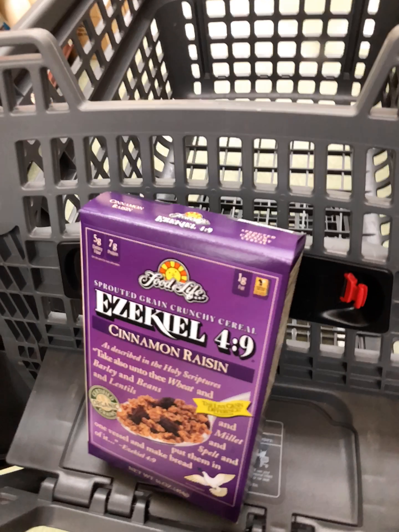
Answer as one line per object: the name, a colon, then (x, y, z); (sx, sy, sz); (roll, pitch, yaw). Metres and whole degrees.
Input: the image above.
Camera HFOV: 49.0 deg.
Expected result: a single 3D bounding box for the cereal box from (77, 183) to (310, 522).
cereal box: (-0.015, 0.075, 0.359); (0.150, 0.250, 0.060); (15, 28, 17)
